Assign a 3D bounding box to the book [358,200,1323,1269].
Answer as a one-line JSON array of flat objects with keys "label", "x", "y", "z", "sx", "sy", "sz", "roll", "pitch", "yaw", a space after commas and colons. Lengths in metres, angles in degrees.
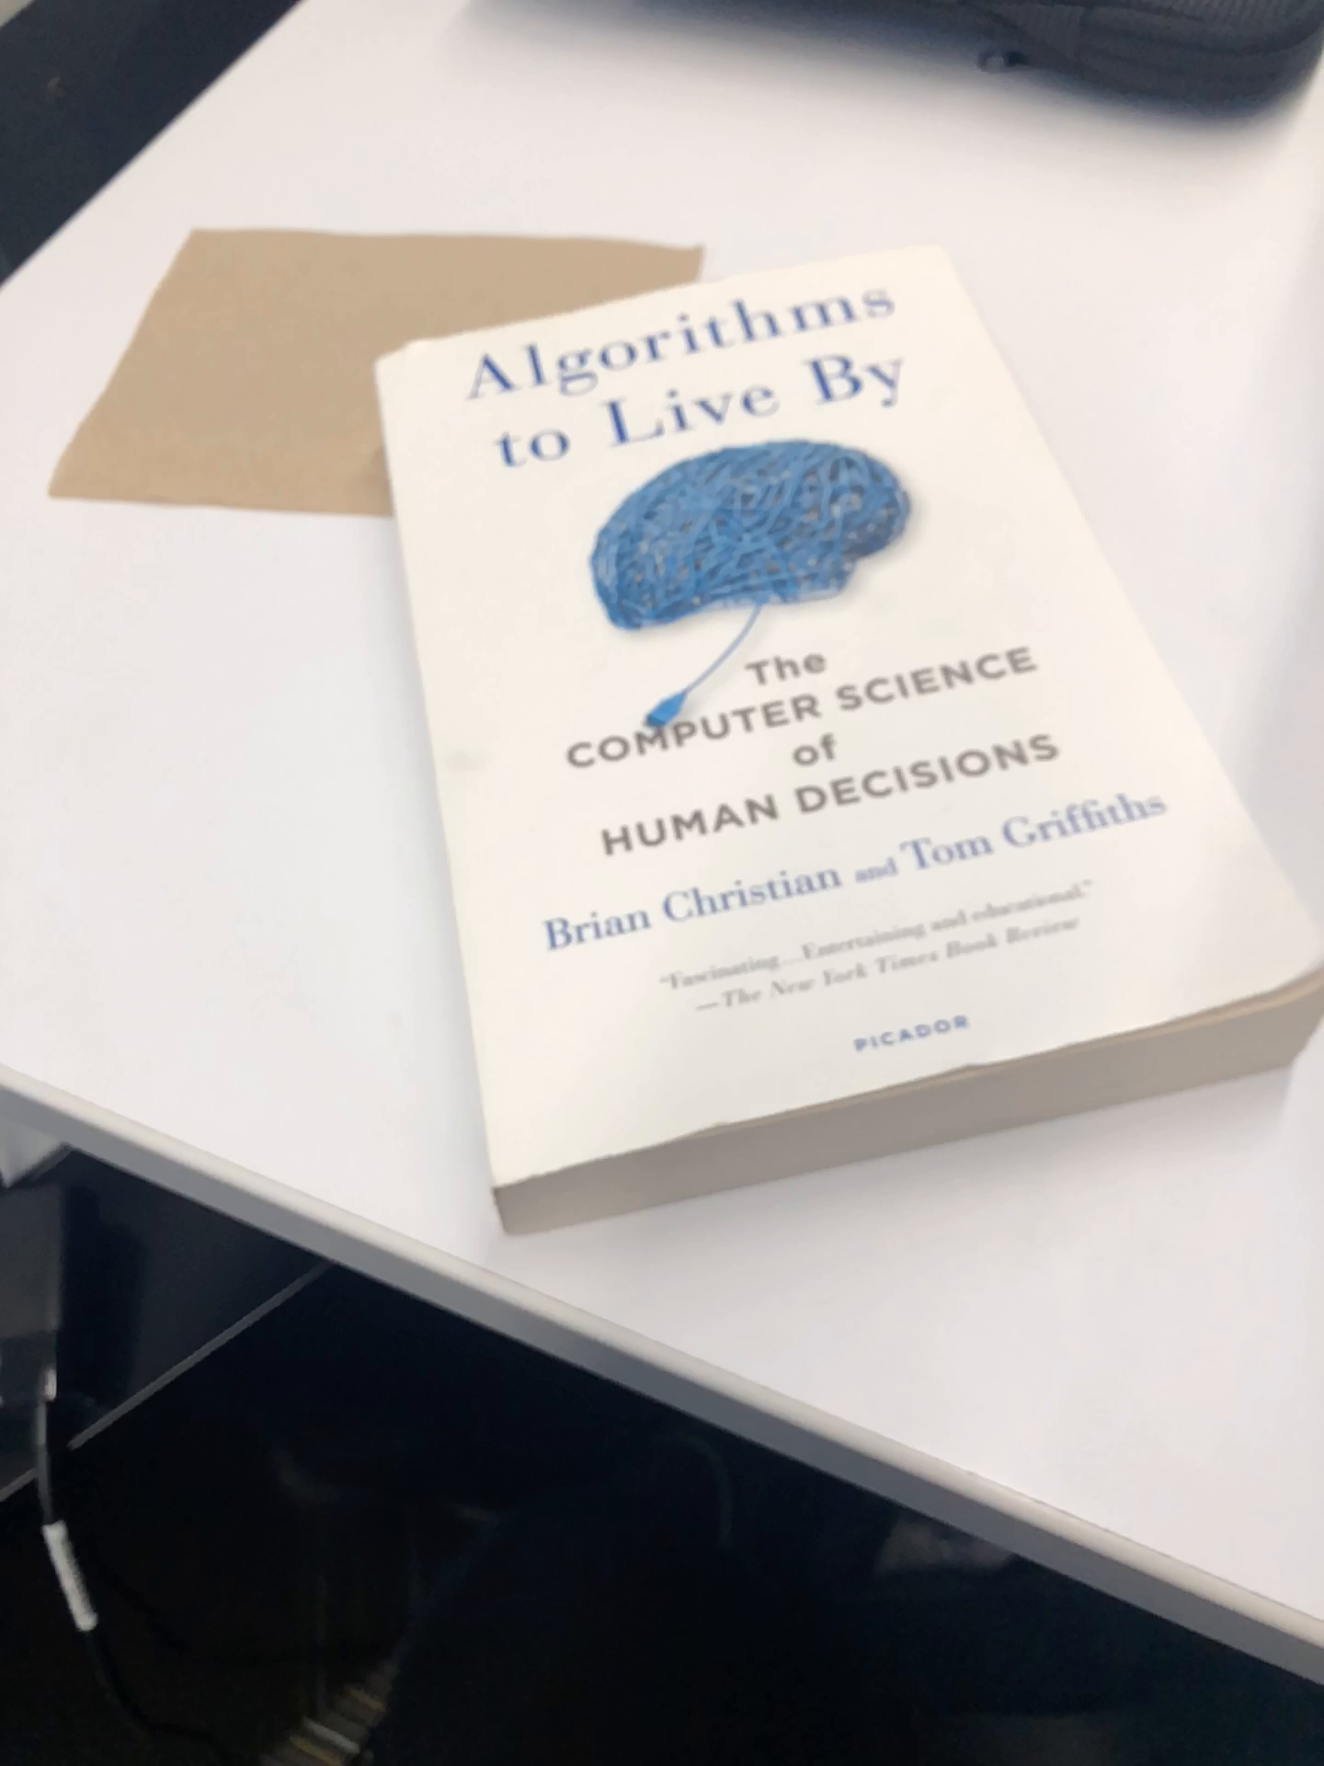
[{"label": "book", "x": 0.030, "y": -0.049, "z": 0.312, "sx": 0.160, "sy": 0.040, "sz": 0.221, "roll": -12, "pitch": 55, "yaw": -2}]
